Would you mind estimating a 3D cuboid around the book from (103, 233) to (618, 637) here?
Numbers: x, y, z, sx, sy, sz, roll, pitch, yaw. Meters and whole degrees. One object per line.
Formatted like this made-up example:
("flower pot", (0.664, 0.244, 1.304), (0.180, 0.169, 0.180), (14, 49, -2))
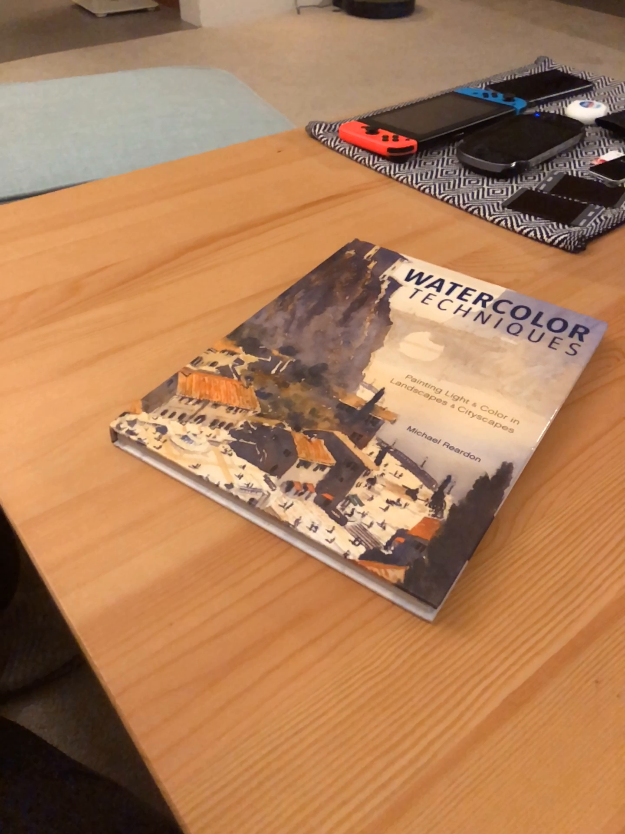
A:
("book", (0.047, -0.024, 0.441), (0.213, 0.020, 0.280), (24, 47, 23))
